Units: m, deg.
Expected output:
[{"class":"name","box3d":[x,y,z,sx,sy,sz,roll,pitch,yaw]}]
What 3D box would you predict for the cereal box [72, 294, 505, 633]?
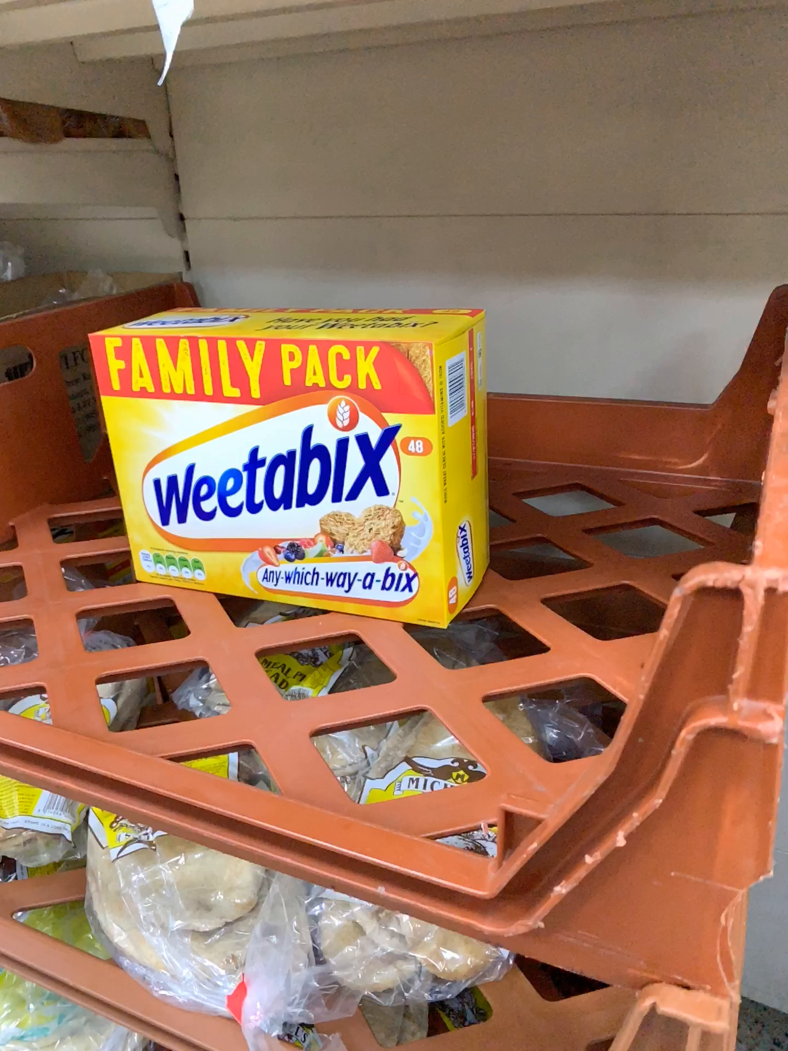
[{"class":"cereal box","box3d":[-0.064,-0.054,0.557,0.260,0.188,0.101,6,26,21]}]
